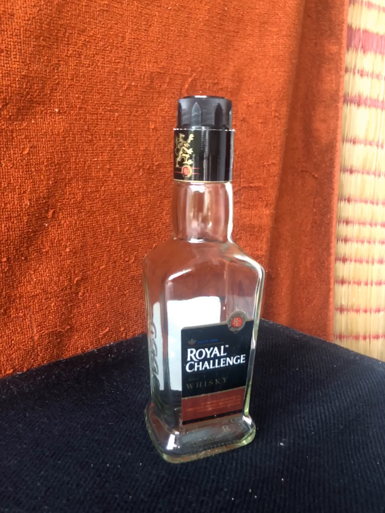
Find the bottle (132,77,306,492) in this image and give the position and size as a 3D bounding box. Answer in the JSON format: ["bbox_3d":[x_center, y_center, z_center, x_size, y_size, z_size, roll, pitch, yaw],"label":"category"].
[{"bbox_3d":[0.007,0.015,0.221,0.060,0.189,0.050,-2,14,-23],"label":"bottle"}]
